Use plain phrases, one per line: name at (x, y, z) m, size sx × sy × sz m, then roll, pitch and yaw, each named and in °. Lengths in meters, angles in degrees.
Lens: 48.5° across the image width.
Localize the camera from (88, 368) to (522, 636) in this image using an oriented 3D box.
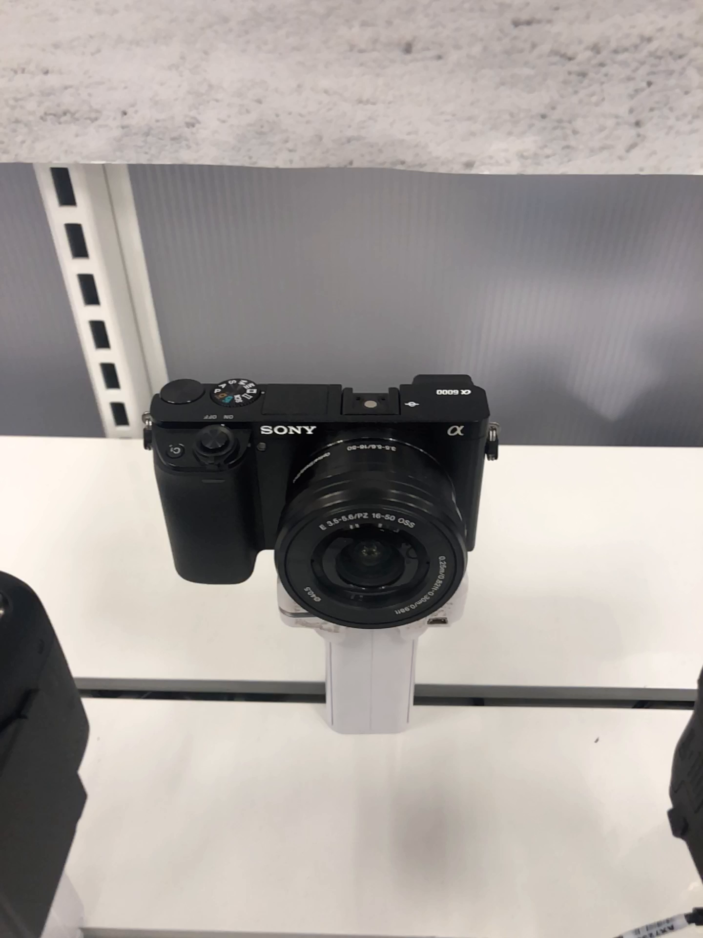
camera at (-0.013, 0.010, 0.260) m, size 0.120 × 0.058 × 0.068 m, roll 0°, pitch 41°, yaw 0°
